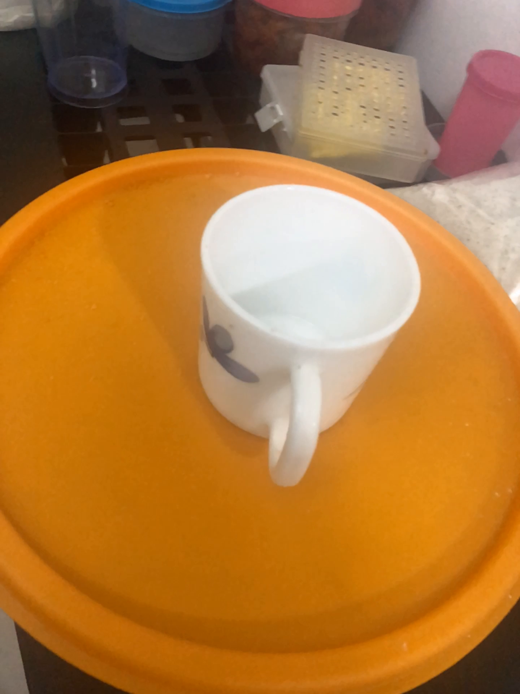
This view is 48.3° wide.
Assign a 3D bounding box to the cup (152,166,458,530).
[{"bbox_3d":[0.009,0.002,0.207,0.080,0.070,0.100,6,54,-7],"label":"cup"}]
